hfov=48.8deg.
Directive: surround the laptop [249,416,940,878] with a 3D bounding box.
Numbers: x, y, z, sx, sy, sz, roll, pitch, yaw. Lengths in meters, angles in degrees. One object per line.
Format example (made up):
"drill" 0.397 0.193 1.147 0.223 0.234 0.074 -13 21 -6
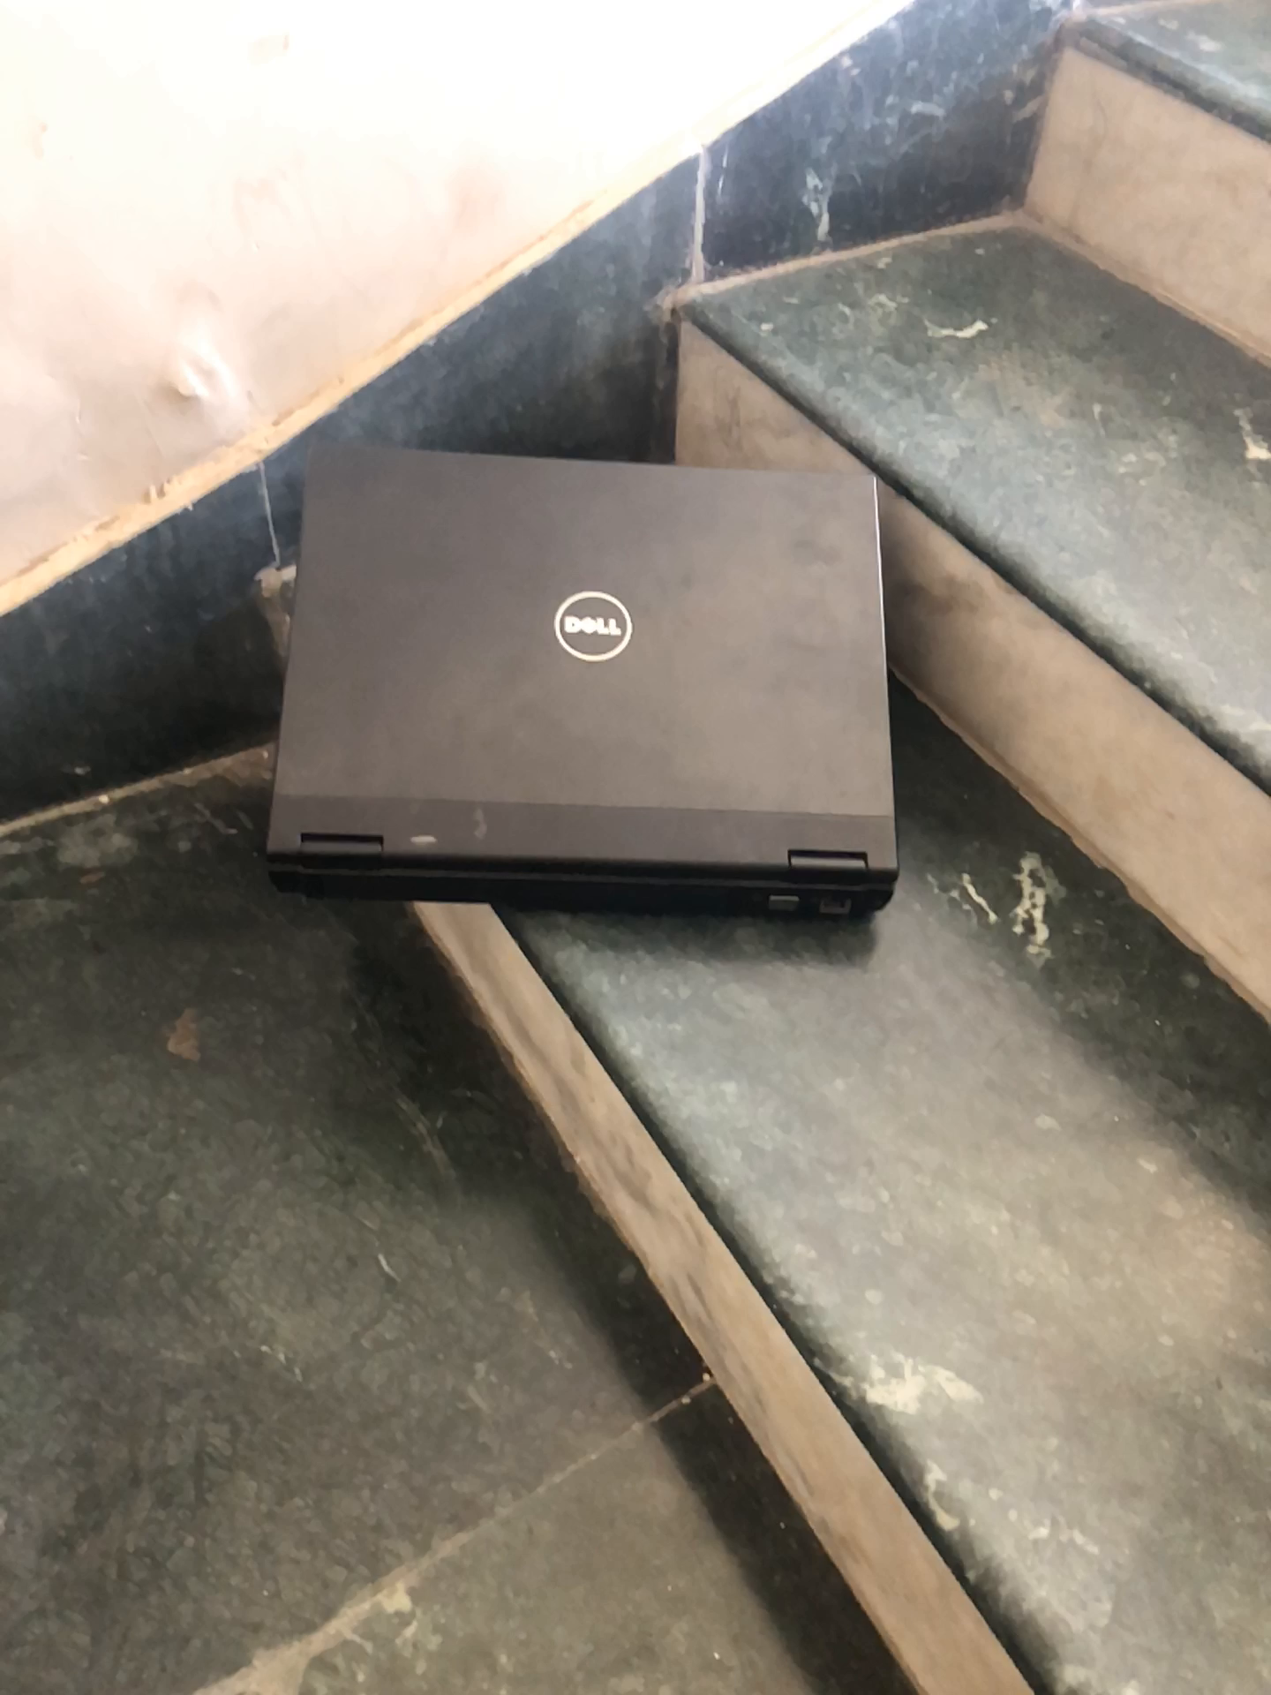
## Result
"laptop" -0.024 -0.109 0.725 0.302 0.095 0.233 2 46 -5
